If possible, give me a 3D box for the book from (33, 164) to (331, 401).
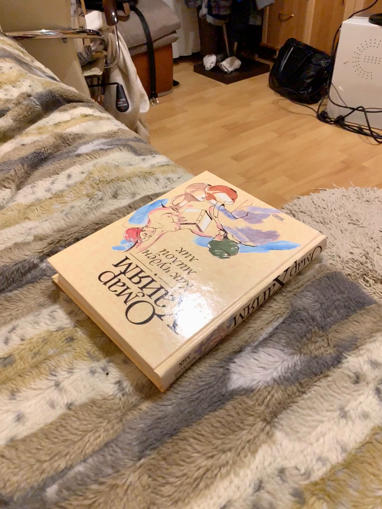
[{"bbox_3d":[-0.004,0.000,0.374,0.221,0.030,0.171,-33,53,-30],"label":"book"}]
